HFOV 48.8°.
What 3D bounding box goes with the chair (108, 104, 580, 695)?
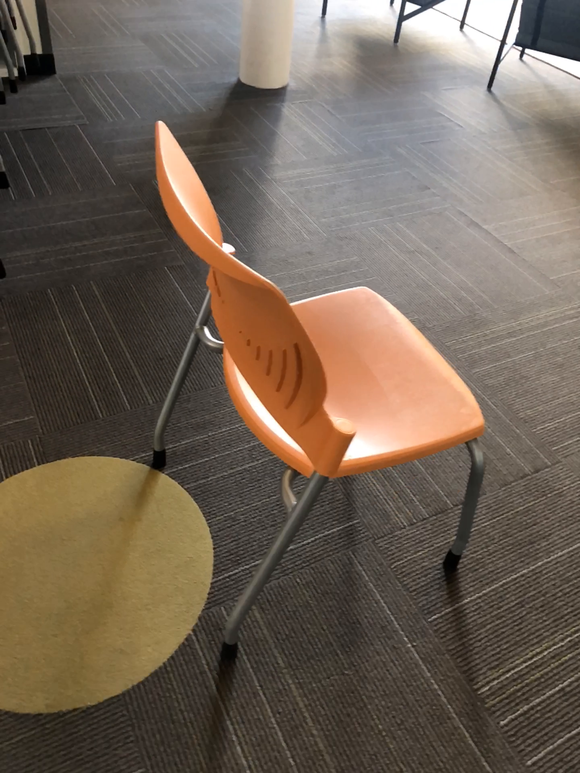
[{"bbox_3d":[0.077,-0.007,1.188,0.611,0.746,0.642,-13,46,-21],"label":"chair"}]
